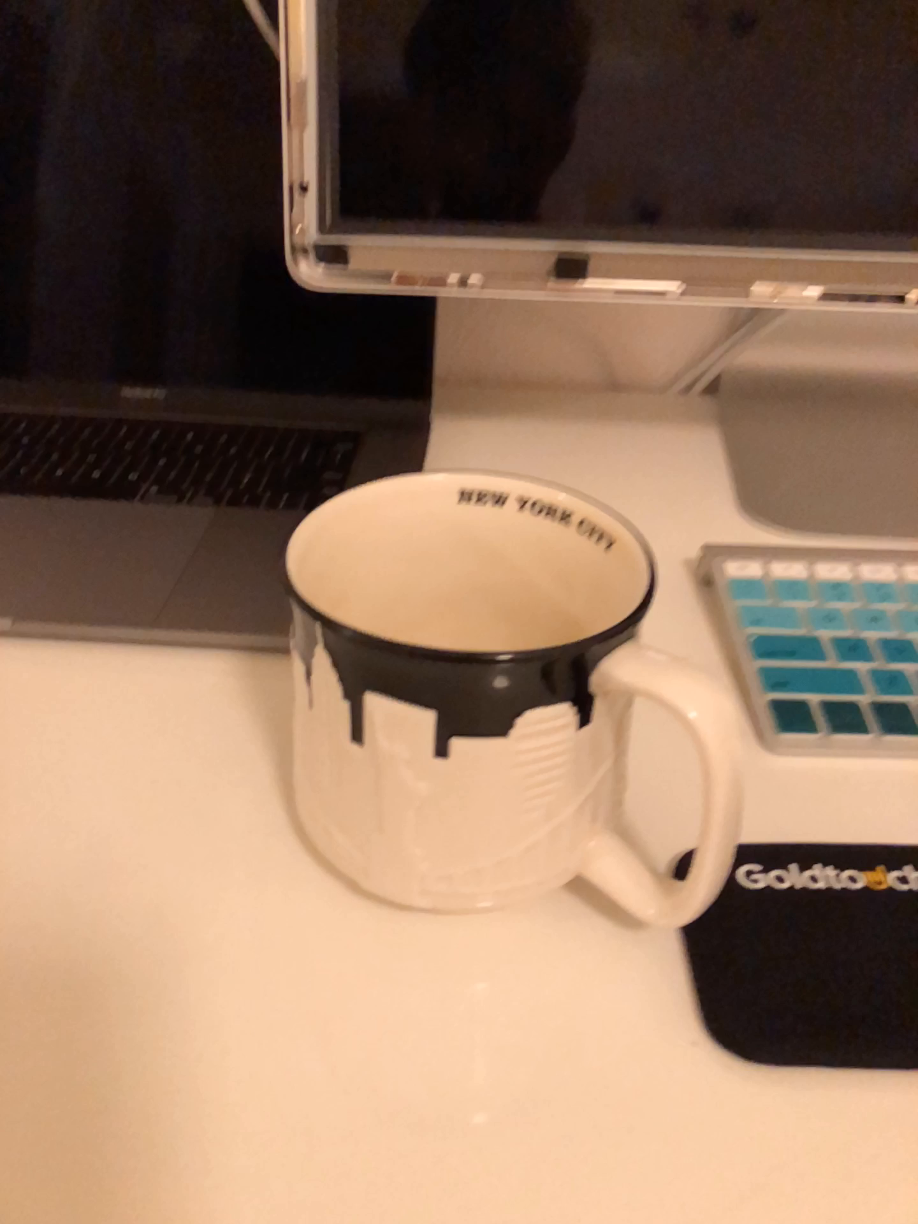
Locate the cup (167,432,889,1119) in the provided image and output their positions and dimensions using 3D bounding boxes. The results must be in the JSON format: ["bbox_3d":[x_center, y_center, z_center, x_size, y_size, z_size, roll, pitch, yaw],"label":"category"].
[{"bbox_3d":[0.015,0.029,0.286,0.150,0.089,0.110,27,41,32],"label":"cup"}]
